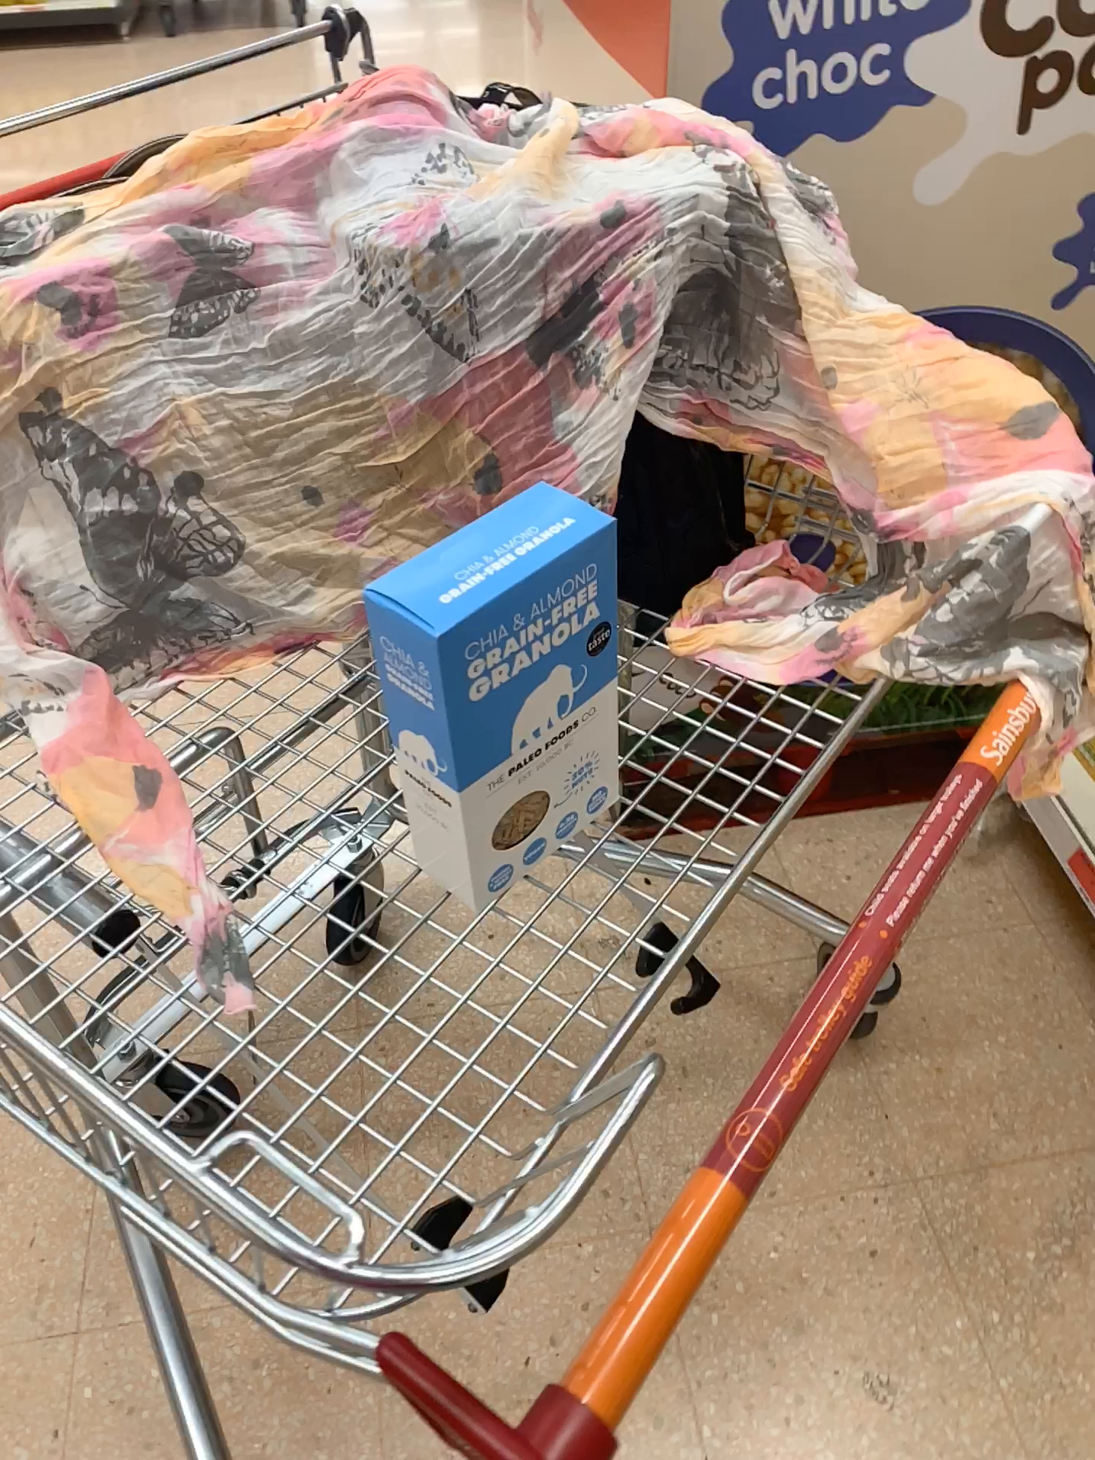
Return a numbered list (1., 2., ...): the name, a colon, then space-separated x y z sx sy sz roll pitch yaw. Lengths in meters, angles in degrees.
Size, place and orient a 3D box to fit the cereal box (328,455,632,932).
1. cereal box: -0.026 -0.015 0.593 0.060 0.208 0.141 32 52 31
